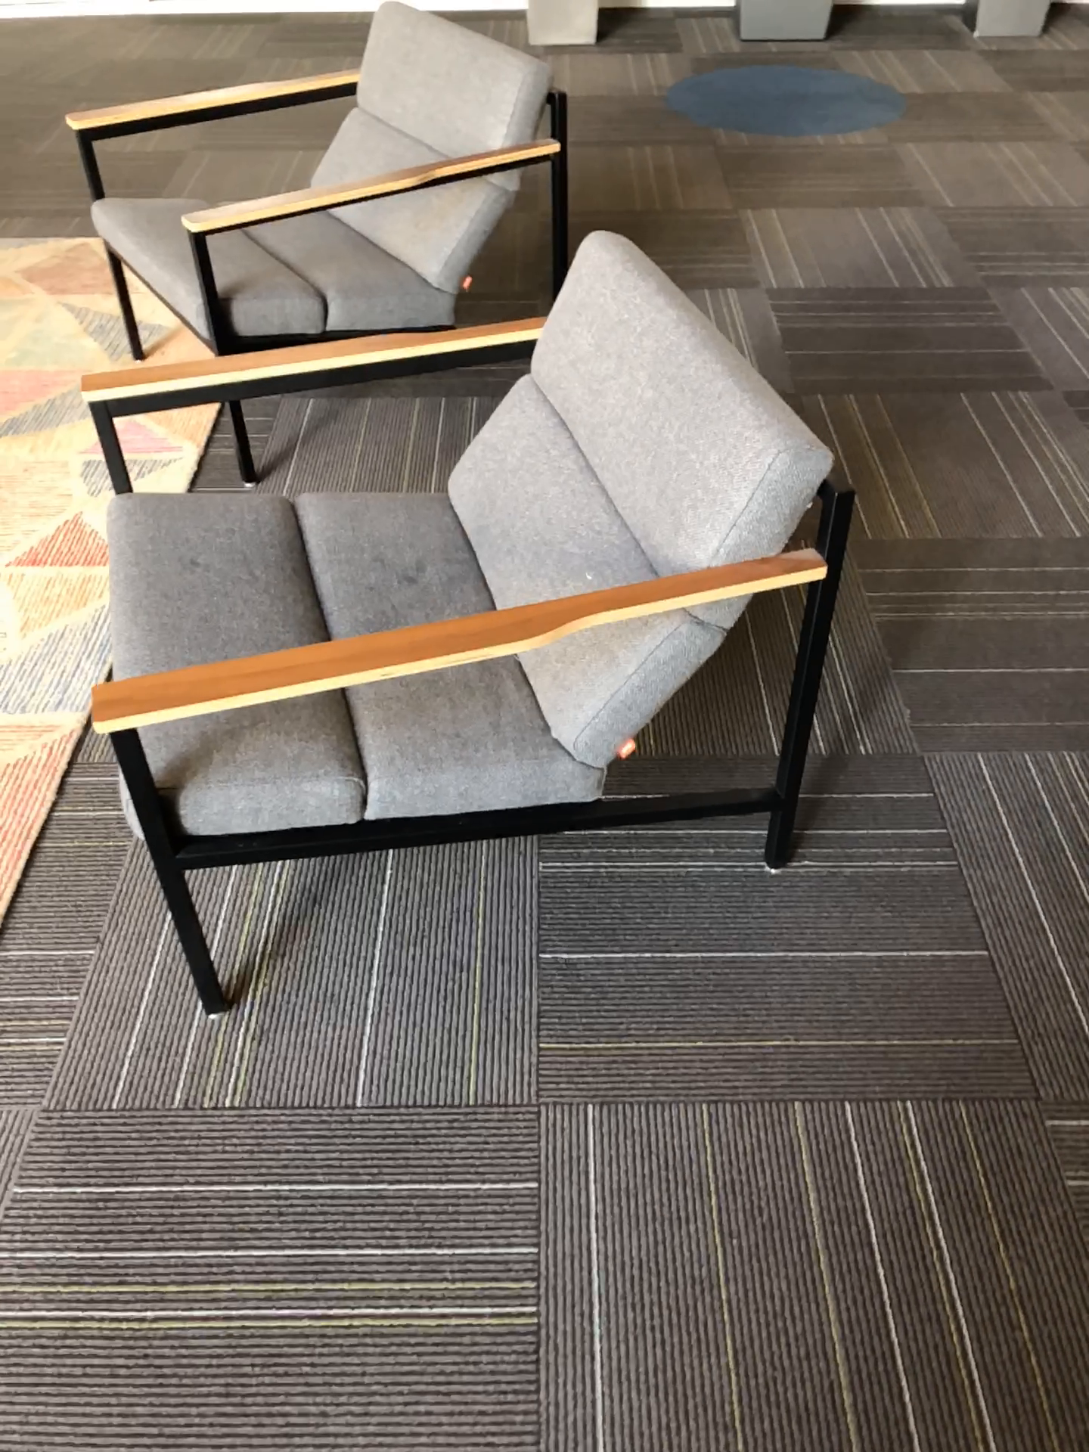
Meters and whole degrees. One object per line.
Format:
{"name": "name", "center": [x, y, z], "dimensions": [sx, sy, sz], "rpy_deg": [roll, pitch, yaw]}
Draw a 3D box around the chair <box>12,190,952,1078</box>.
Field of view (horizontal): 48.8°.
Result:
{"name": "chair", "center": [-0.130, -0.181, 1.647], "dimensions": [0.920, 0.697, 0.794], "rpy_deg": [-15, 43, -12]}
